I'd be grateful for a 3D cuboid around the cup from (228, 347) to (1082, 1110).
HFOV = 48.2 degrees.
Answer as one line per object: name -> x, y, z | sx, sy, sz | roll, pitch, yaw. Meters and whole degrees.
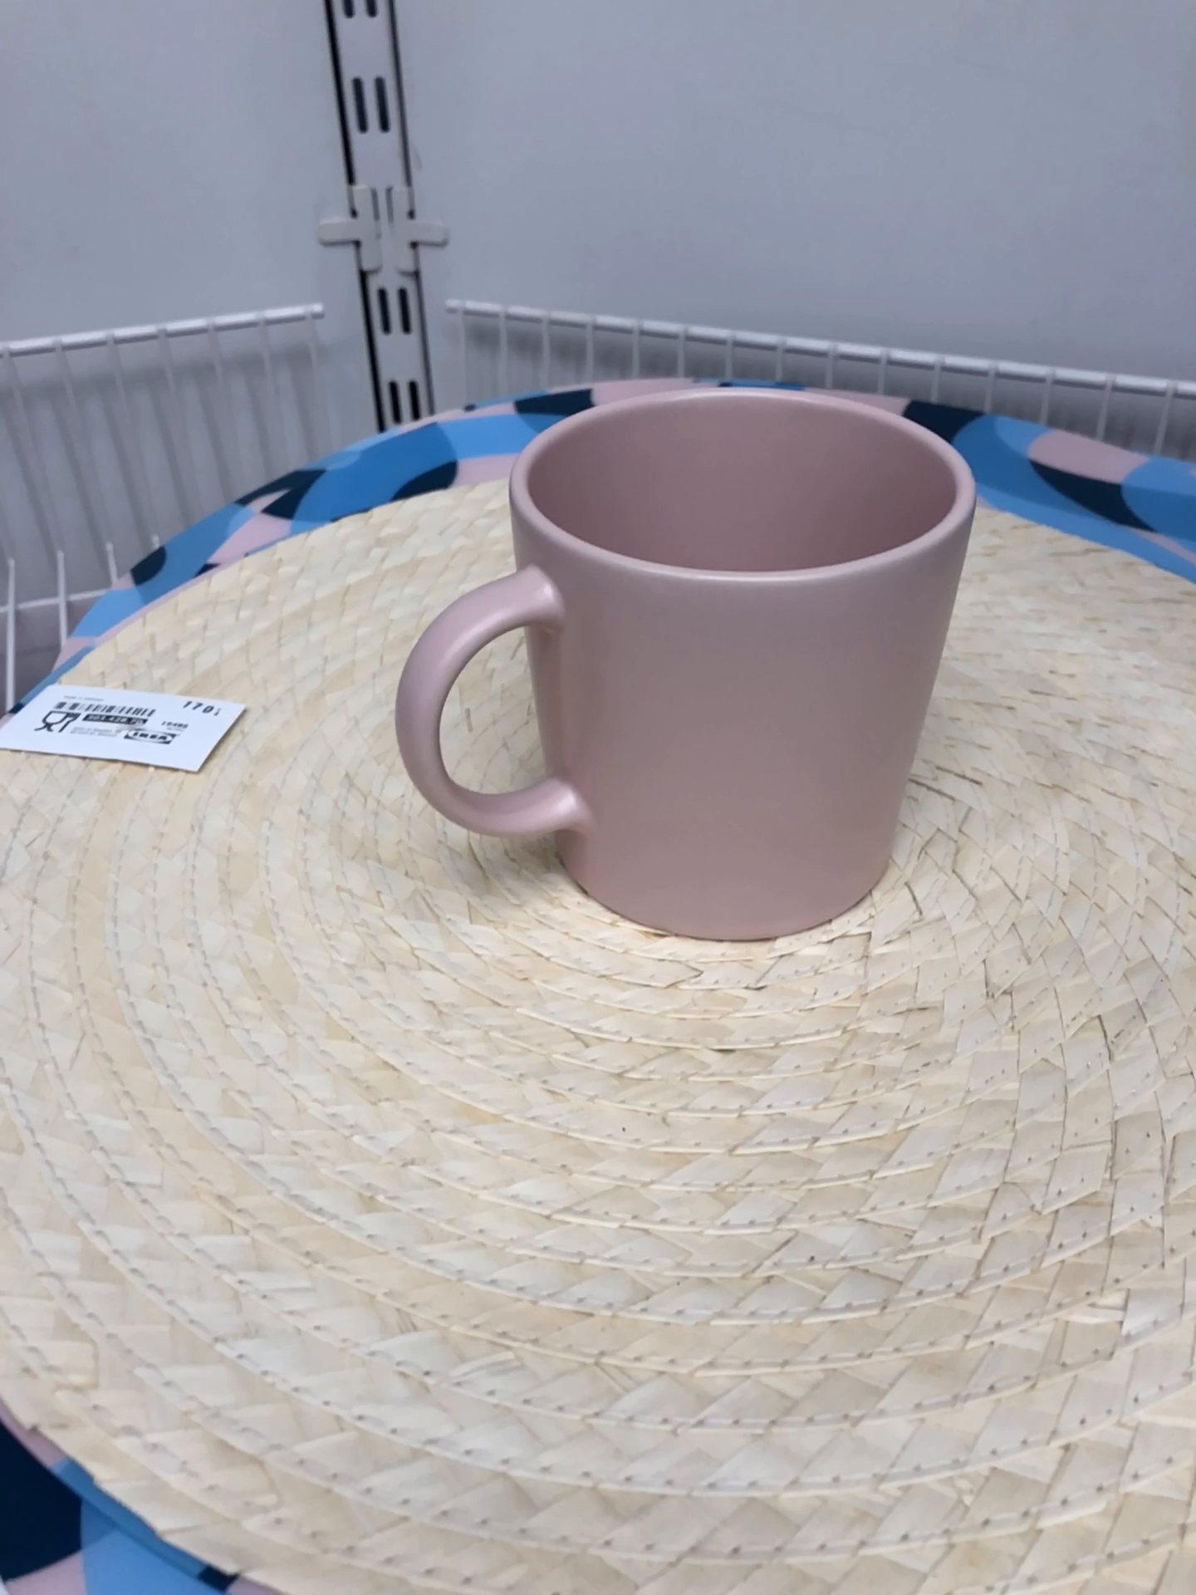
cup -> 0.012, -0.026, 0.282 | 0.130, 0.090, 0.100 | -24, 40, -29
